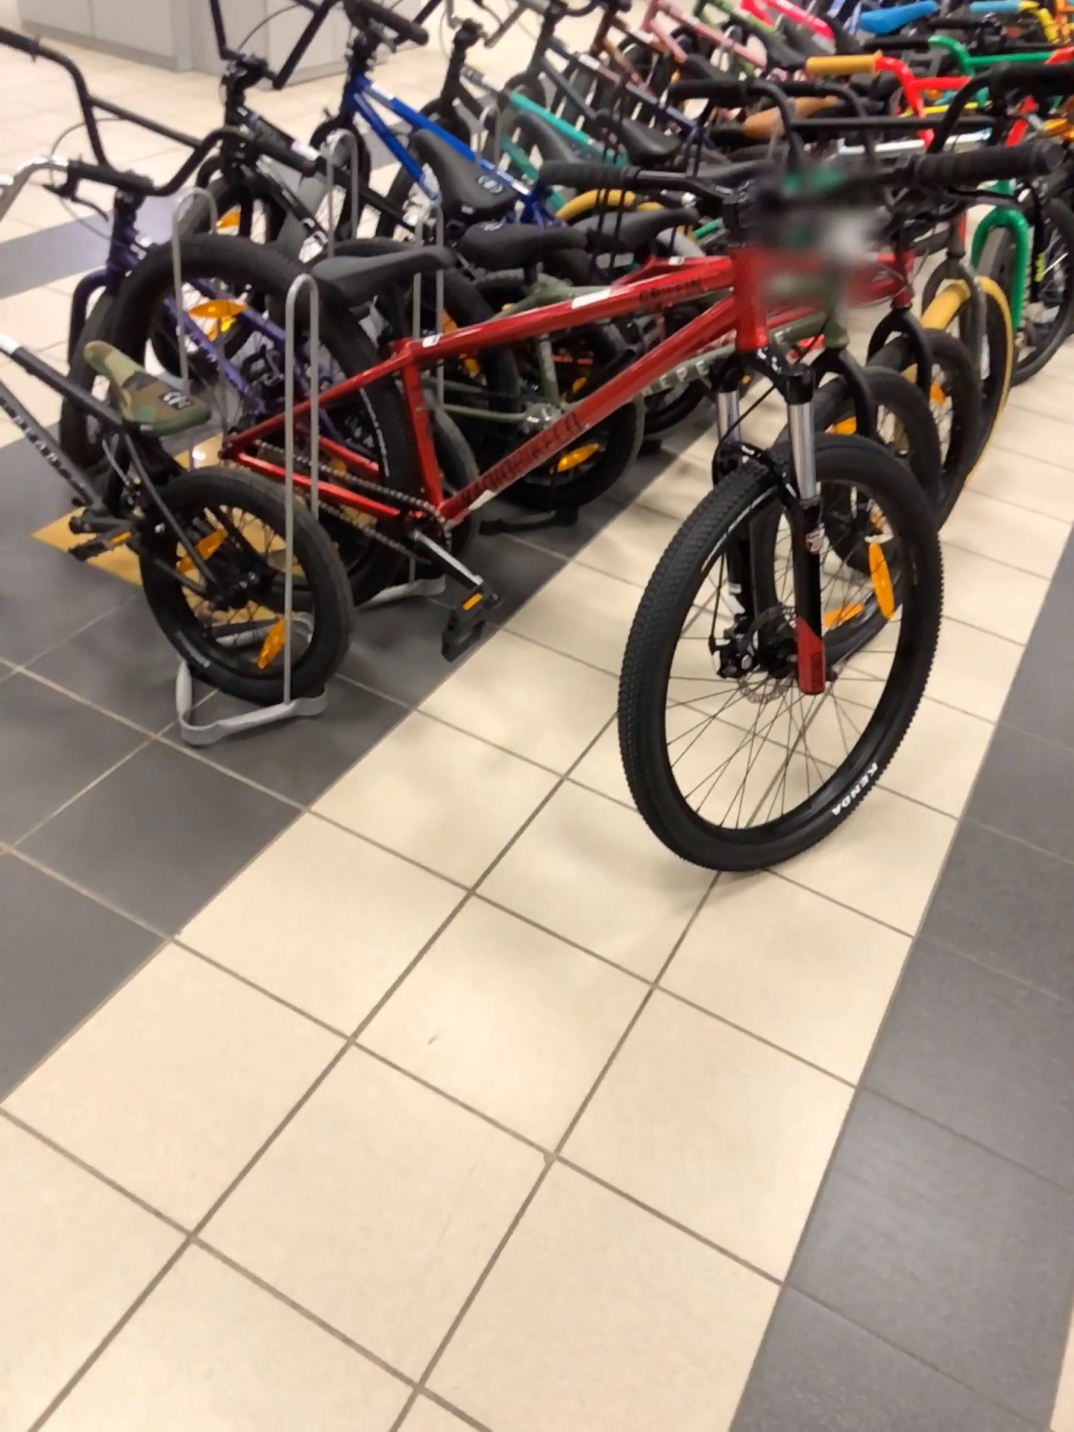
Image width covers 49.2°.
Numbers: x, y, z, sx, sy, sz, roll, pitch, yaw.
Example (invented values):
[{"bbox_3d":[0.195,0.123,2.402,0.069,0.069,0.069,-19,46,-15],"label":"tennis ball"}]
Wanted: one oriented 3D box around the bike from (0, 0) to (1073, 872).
[{"bbox_3d":[-0.089,-0.523,1.789,1.337,0.997,0.715,17,39,12],"label":"bike"}]
